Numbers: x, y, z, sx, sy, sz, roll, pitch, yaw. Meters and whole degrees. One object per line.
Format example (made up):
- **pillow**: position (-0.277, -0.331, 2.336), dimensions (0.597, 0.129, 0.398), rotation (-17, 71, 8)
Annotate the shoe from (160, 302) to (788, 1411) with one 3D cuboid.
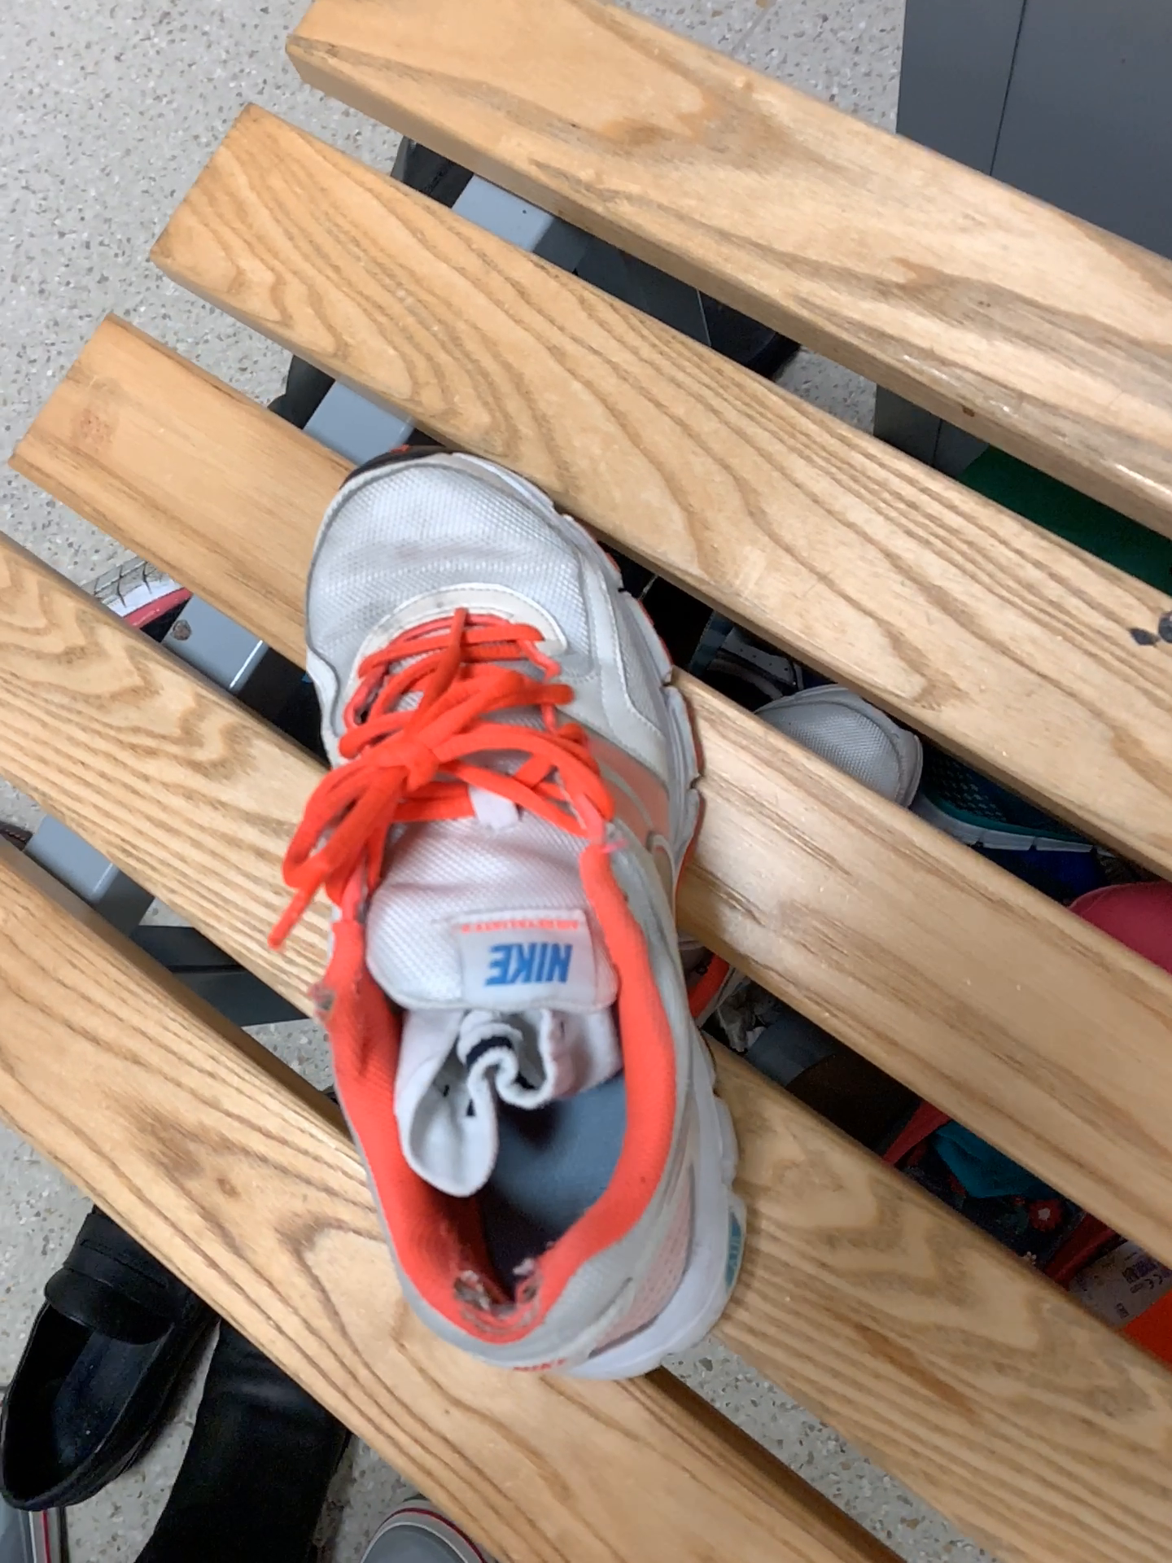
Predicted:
- **shoe**: position (-0.028, 0.017, 0.316), dimensions (0.110, 0.079, 0.242), rotation (-12, 79, 10)
